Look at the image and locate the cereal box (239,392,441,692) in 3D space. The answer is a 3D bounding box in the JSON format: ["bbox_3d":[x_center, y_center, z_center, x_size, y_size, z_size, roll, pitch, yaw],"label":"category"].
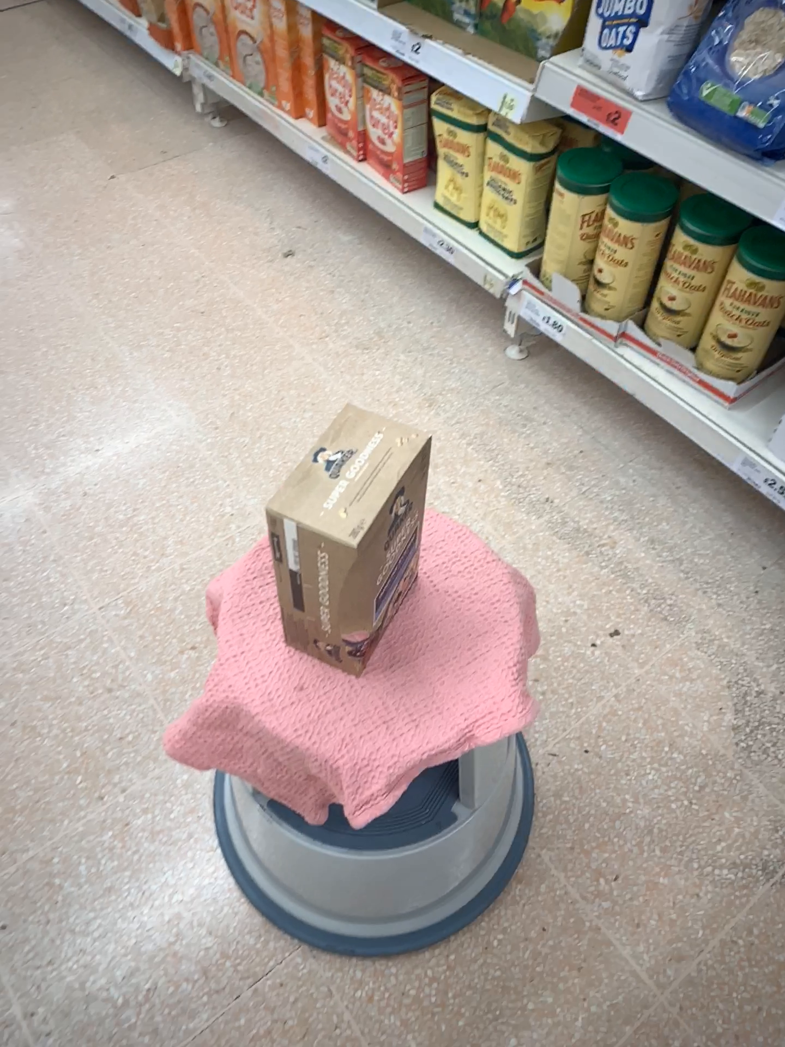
[{"bbox_3d":[-0.039,0.022,0.699,0.100,0.208,0.141,22,55,15],"label":"cereal box"}]
